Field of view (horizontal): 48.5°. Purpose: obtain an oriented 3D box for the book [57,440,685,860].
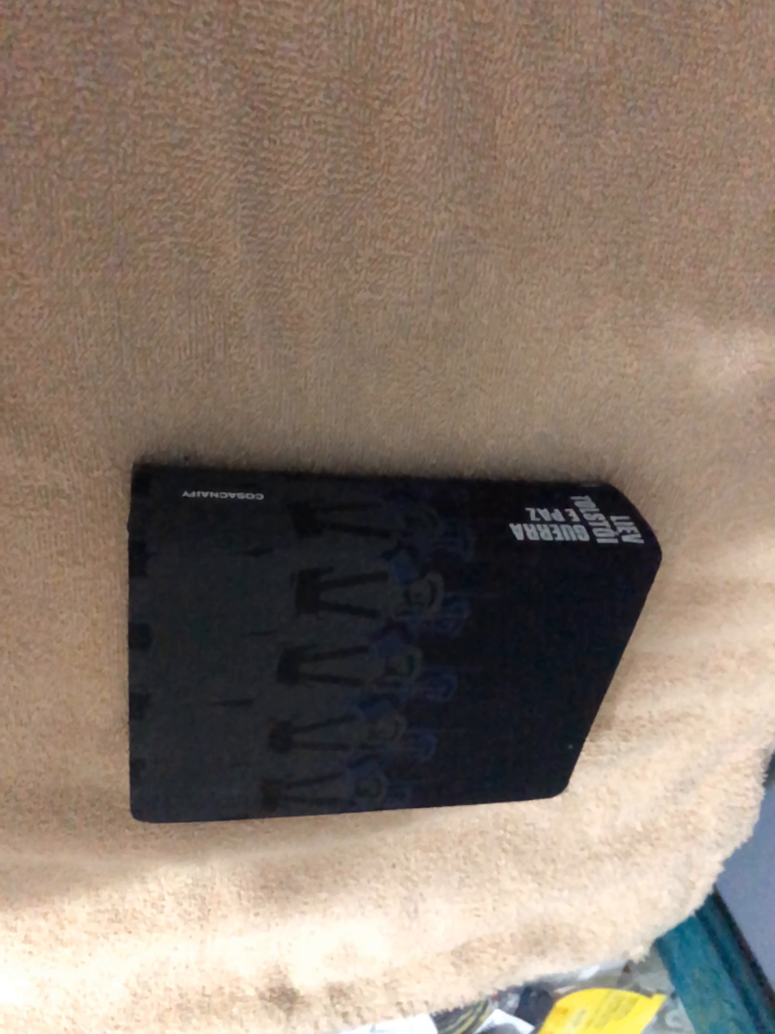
[{"bbox_3d":[-0.012,0.050,0.310,0.190,0.050,0.141,1,124,-16],"label":"book"}]
